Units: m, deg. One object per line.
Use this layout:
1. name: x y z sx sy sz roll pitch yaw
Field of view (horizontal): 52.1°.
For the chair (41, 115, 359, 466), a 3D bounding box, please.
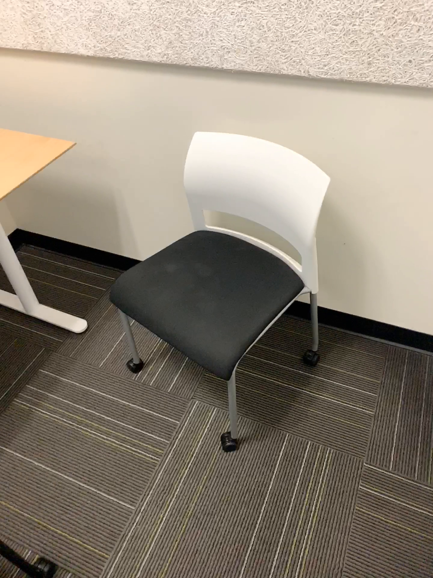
1. chair: -0.020 -0.005 1.356 0.582 0.736 0.541 29 54 30
